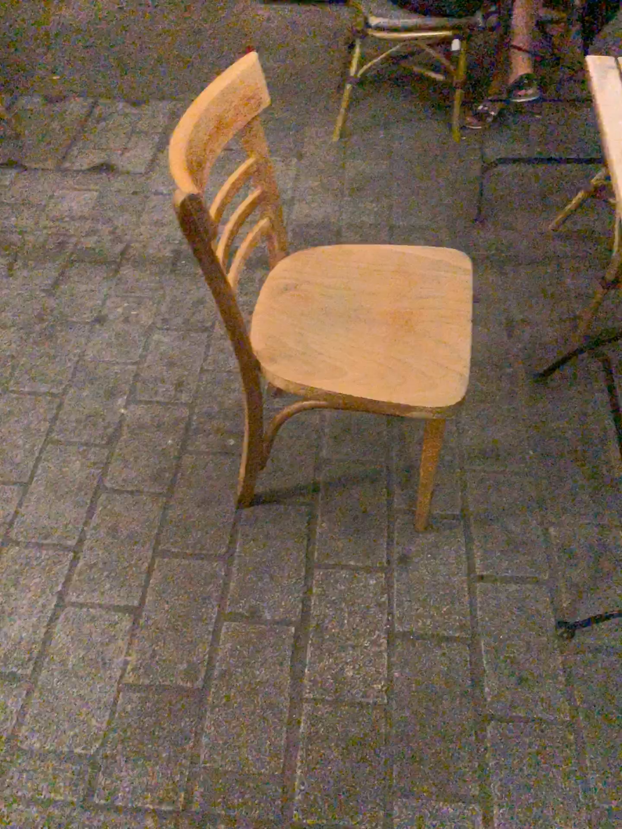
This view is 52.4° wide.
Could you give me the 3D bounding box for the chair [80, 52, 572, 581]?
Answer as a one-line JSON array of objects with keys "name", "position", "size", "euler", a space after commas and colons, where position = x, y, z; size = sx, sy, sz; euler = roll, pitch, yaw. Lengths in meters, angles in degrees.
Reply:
[{"name": "chair", "position": [0.051, -0.134, 1.145], "size": [0.540, 0.763, 0.515], "euler": [5, 51, 6]}]
